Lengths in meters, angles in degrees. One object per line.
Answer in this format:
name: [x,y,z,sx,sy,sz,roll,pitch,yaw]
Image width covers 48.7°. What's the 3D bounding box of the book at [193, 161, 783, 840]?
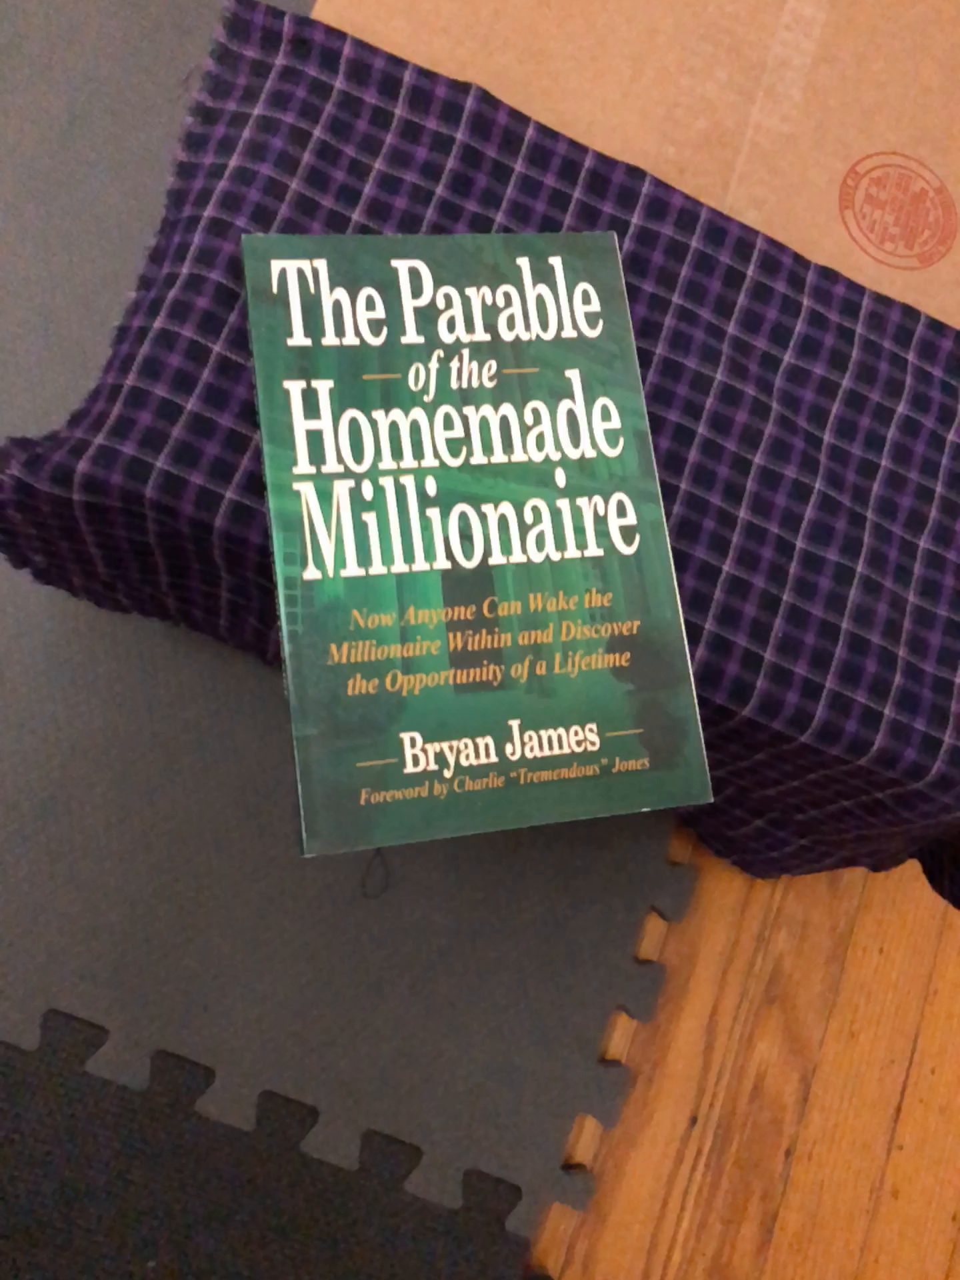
book: [0.000,-0.053,0.341,0.160,0.020,0.210,-6,80,-12]
